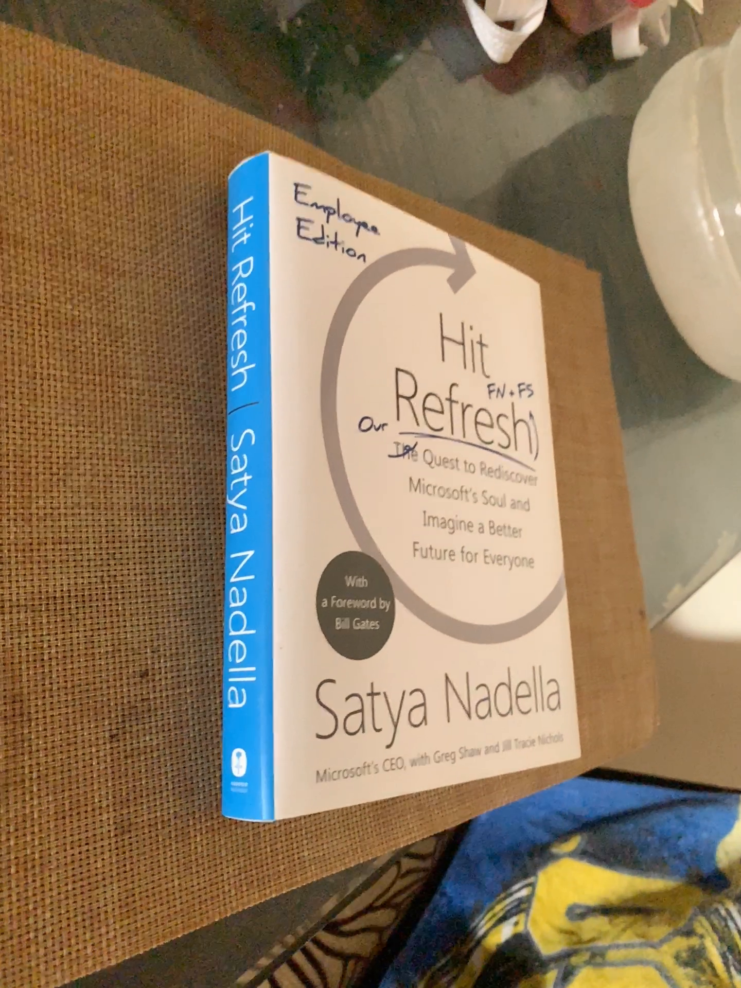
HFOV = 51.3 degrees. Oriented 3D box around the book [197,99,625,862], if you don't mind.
[{"bbox_3d":[0.025,-0.002,0.322,0.191,0.040,0.250,10,72,-41],"label":"book"}]
